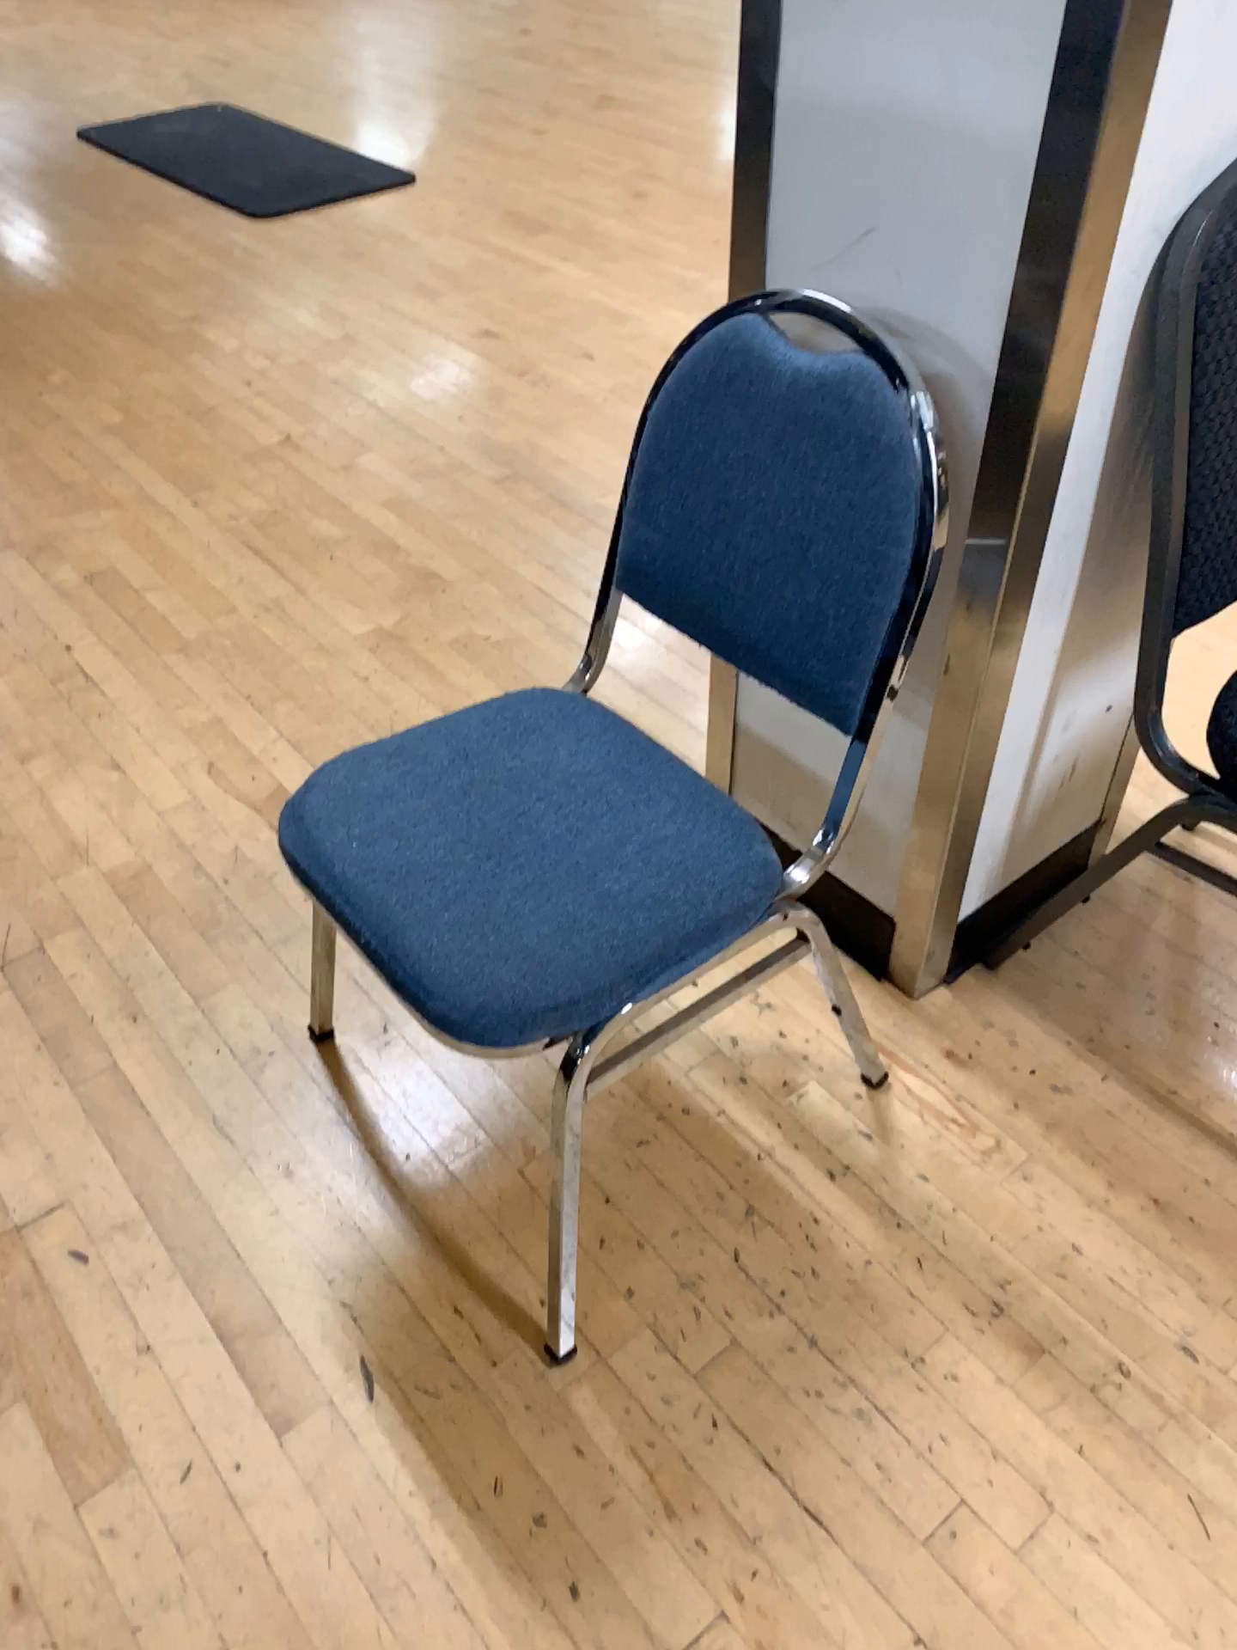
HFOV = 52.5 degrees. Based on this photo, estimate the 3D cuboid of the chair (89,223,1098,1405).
[{"bbox_3d":[-0.027,-0.008,1.255,0.554,0.888,0.550,-28,48,-27],"label":"chair"}]
